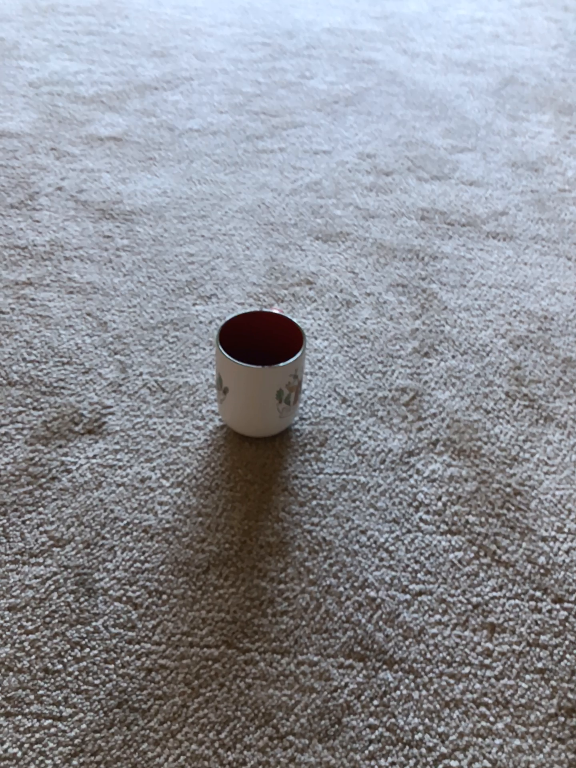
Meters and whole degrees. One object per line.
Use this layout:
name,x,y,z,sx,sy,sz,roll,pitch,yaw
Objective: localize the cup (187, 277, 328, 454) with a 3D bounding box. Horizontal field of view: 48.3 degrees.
cup,-0.026,-0.022,0.642,0.100,0.090,0.141,11,46,8
